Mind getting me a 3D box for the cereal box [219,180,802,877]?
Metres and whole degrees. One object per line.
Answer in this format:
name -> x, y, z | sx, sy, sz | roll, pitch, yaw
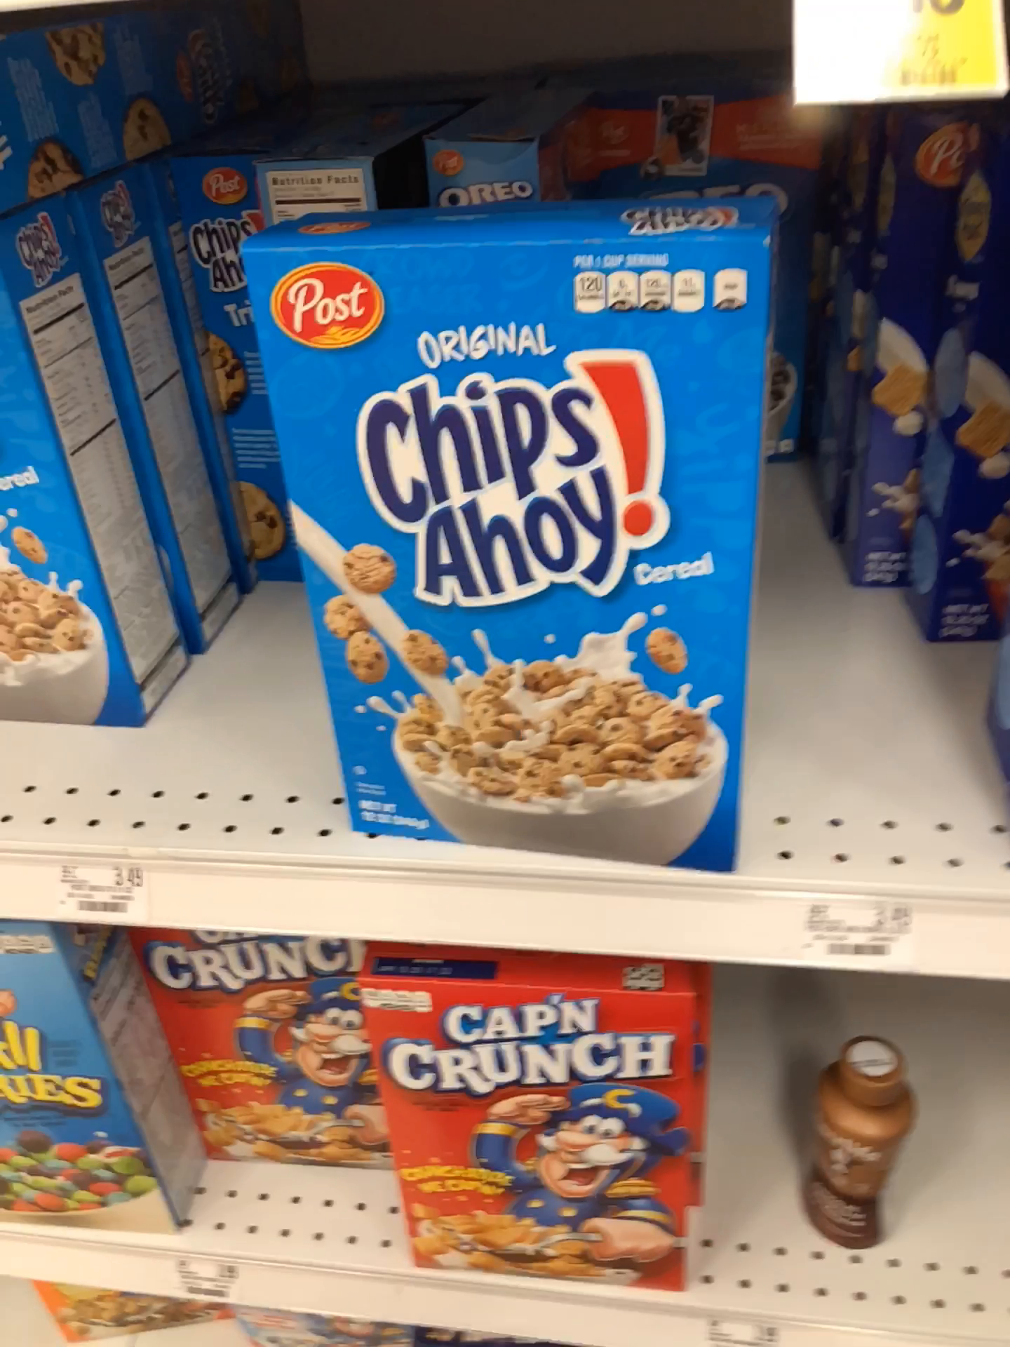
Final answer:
cereal box -> 0.013, -0.053, 0.457 | 0.190, 0.259, 0.080 | 5, 33, 14
